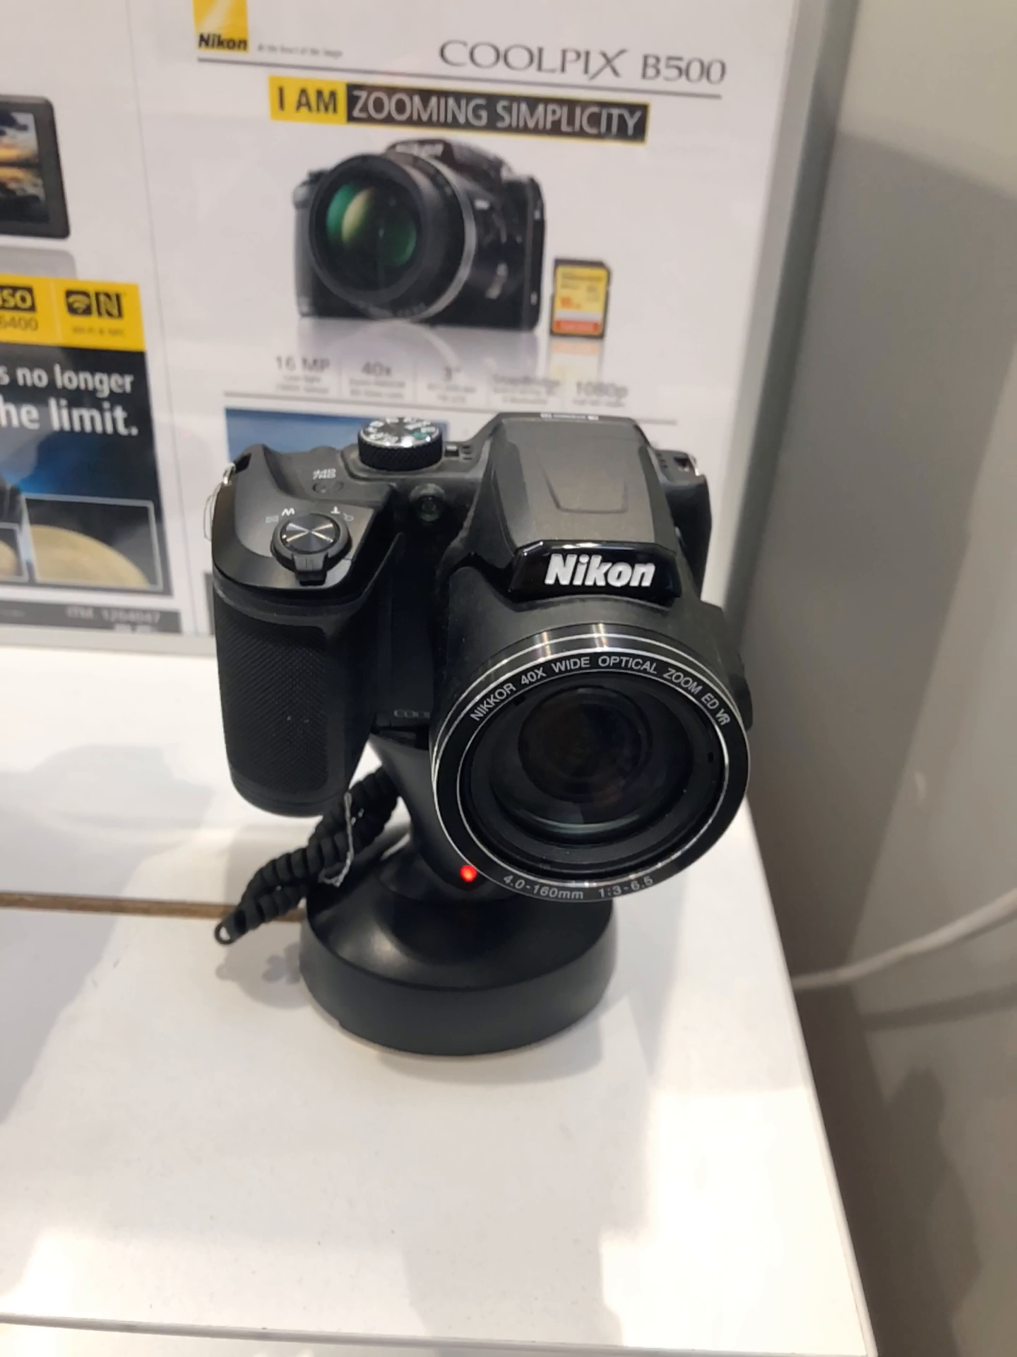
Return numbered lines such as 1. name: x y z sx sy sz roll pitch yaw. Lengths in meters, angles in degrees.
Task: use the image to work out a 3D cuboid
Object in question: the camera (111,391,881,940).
1. camera: -0.005 -0.008 0.238 0.120 0.070 0.101 1 32 -4
